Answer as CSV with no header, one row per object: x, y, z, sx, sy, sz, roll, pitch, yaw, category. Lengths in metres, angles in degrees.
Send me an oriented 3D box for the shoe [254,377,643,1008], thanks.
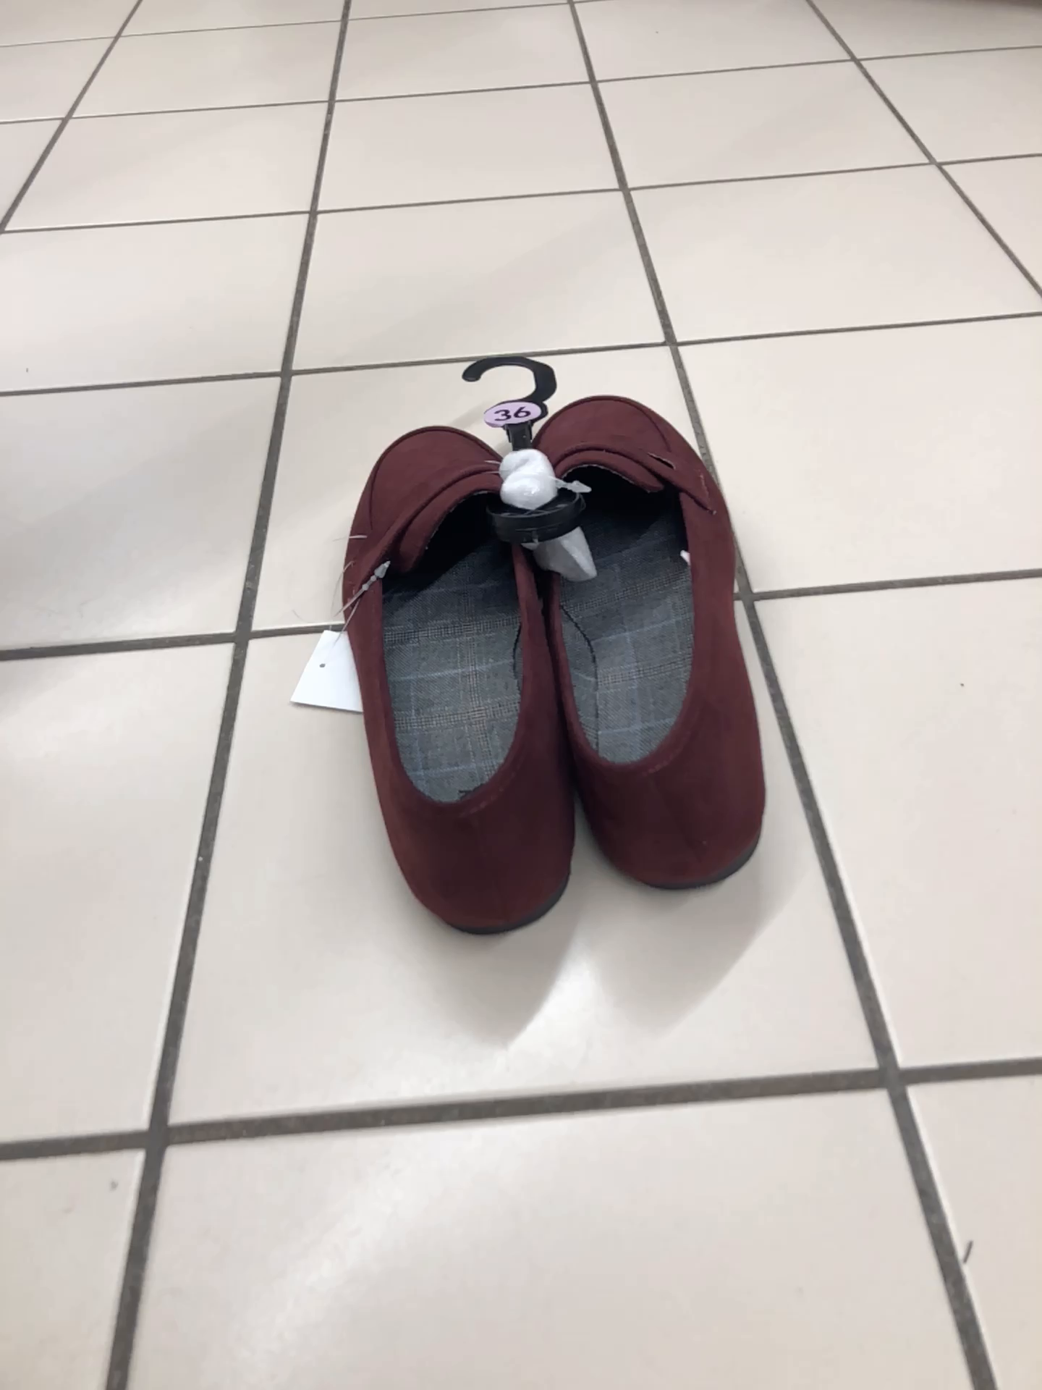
-0.035,-0.020,0.392,0.079,0.056,0.240,-12,45,-8,shoe

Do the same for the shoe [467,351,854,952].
0.034,-0.033,0.400,0.078,0.057,0.240,-7,44,-3,shoe
